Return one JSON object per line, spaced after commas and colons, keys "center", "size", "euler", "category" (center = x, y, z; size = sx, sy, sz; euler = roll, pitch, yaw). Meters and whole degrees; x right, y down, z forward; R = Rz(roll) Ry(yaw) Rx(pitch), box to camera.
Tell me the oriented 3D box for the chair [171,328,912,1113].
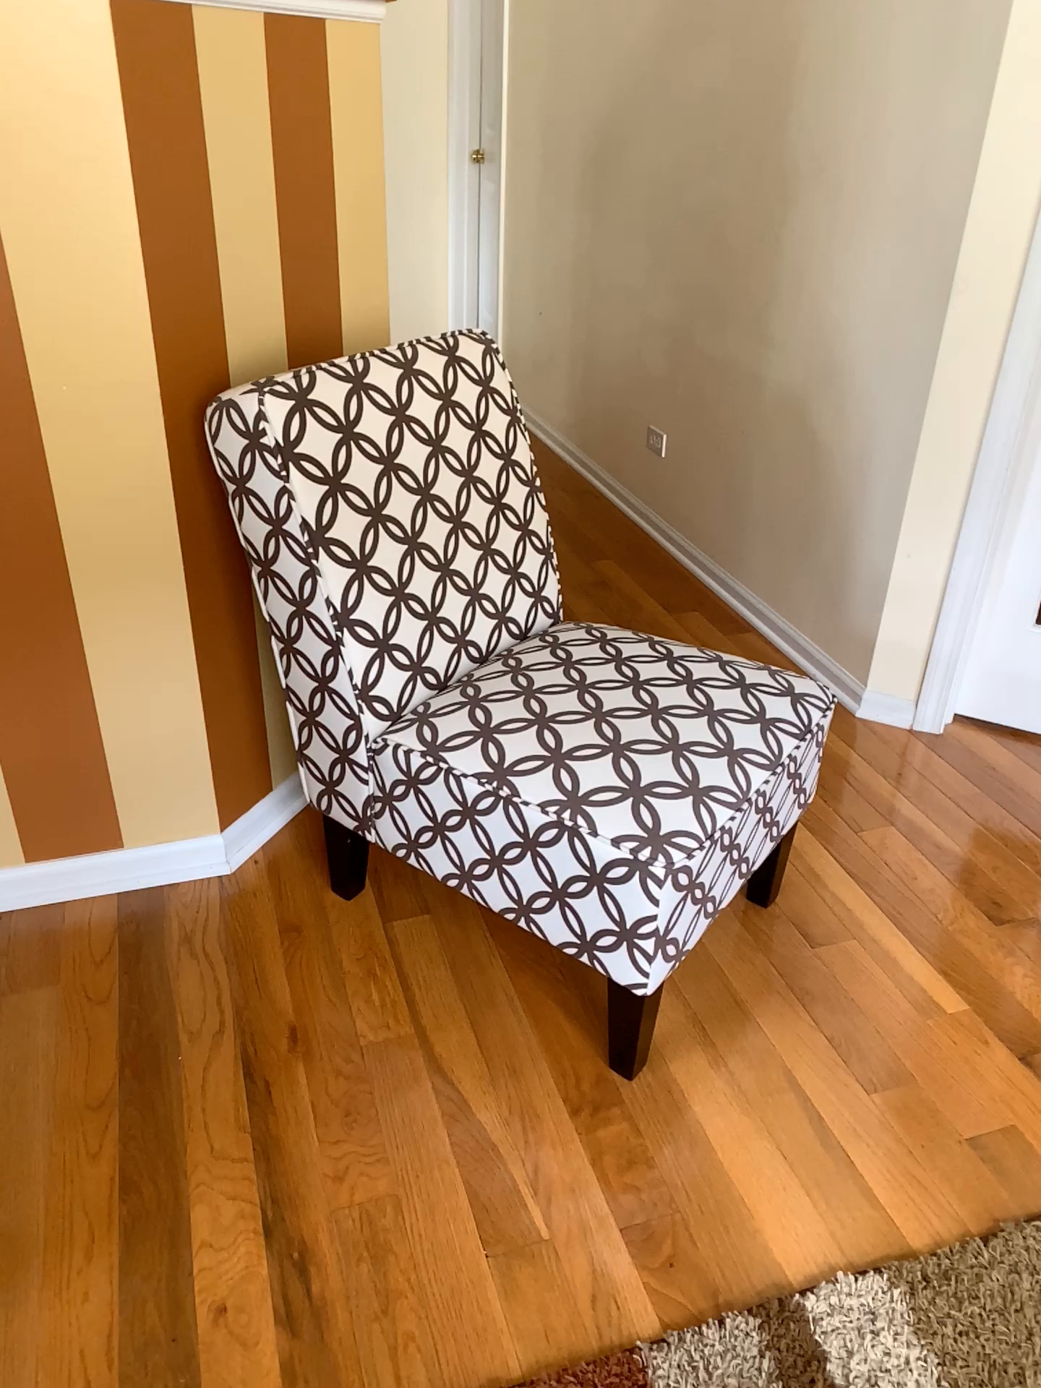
{"center": [0.034, -0.050, 1.542], "size": [0.737, 0.775, 0.625], "euler": [19, 32, 29], "category": "chair"}
